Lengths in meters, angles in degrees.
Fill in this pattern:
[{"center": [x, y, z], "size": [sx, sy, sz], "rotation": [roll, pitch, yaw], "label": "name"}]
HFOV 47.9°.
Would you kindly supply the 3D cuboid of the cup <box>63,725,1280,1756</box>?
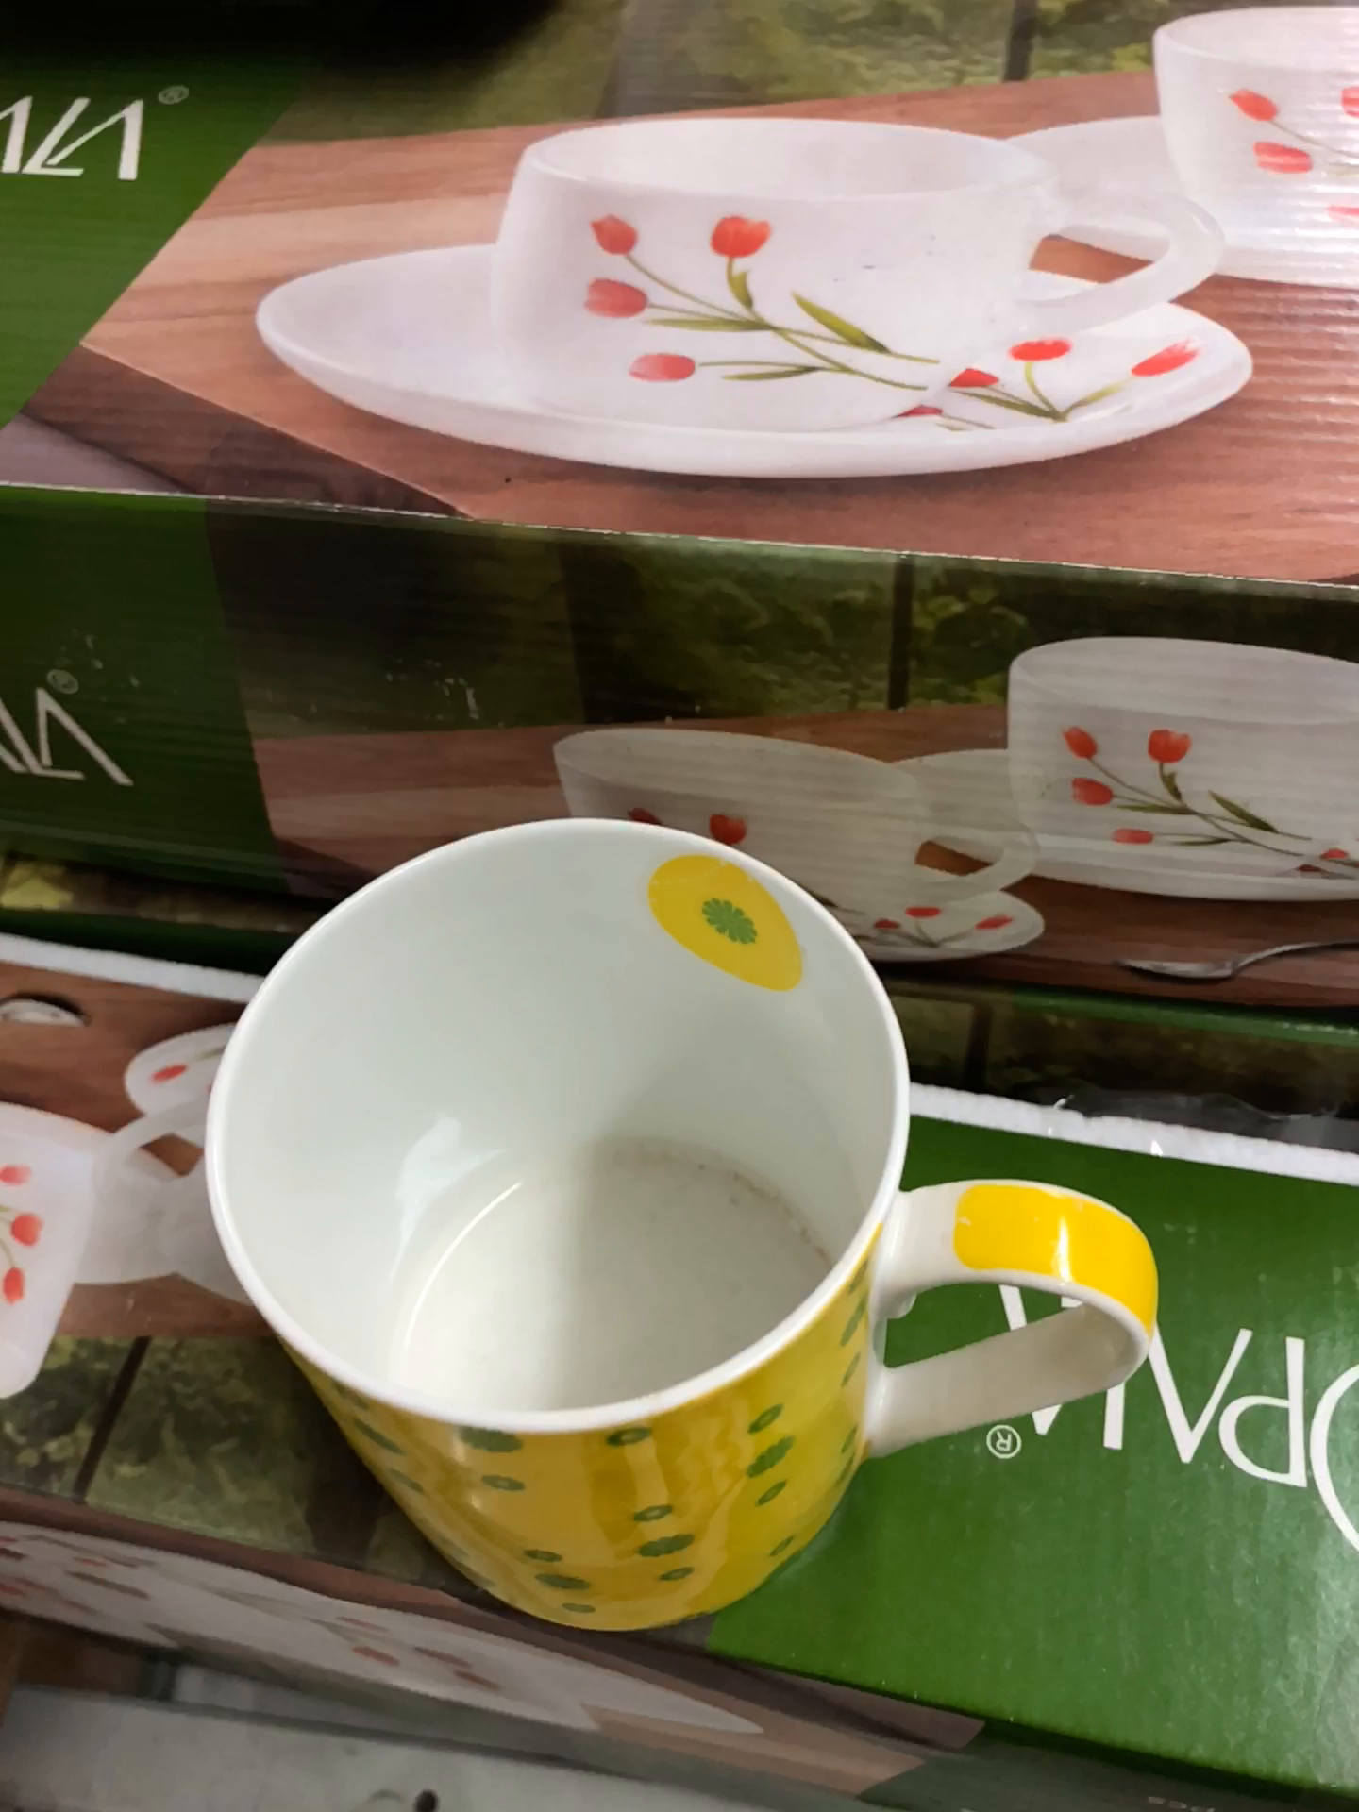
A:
[{"center": [0.006, 0.042, 0.194], "size": [0.110, 0.090, 0.080], "rotation": [7, 51, 10], "label": "cup"}]
